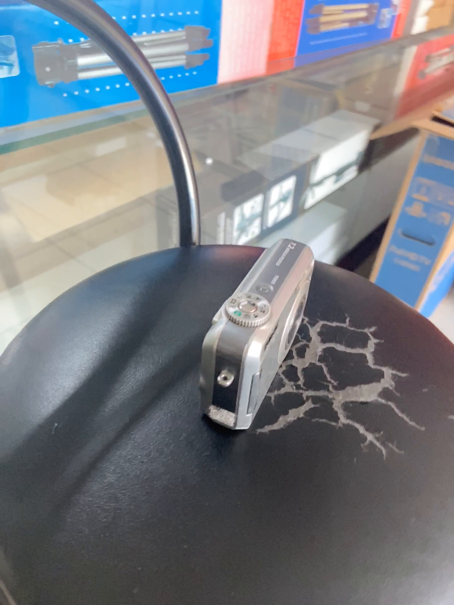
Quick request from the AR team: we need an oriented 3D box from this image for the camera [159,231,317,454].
[{"bbox_3d":[0.009,0.014,0.236,0.040,0.050,0.101,18,41,15],"label":"camera"}]
